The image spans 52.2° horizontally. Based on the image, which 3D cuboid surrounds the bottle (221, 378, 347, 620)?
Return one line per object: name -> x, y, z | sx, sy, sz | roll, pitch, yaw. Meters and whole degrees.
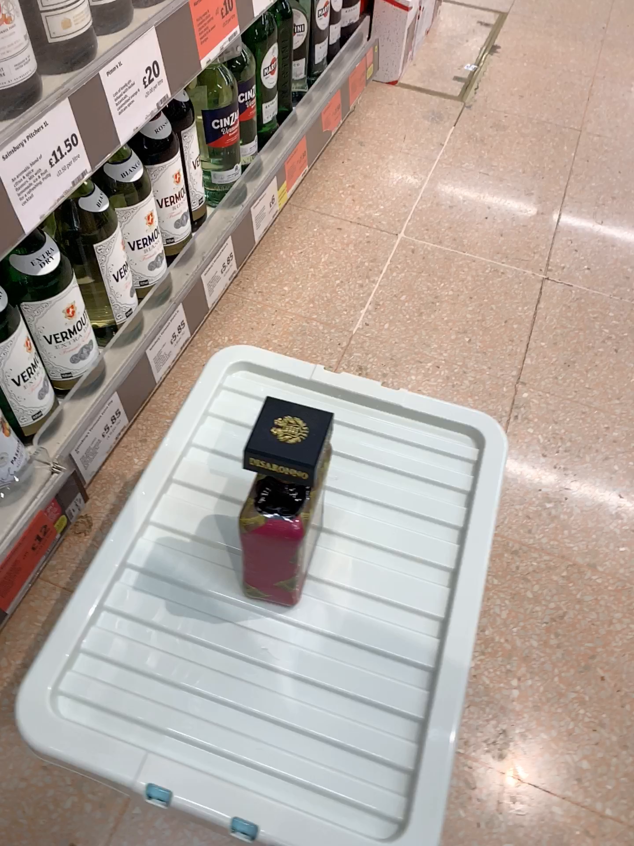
bottle -> -0.026, 0.071, 0.530 | 0.060, 0.199, 0.101 | 15, 54, 7
